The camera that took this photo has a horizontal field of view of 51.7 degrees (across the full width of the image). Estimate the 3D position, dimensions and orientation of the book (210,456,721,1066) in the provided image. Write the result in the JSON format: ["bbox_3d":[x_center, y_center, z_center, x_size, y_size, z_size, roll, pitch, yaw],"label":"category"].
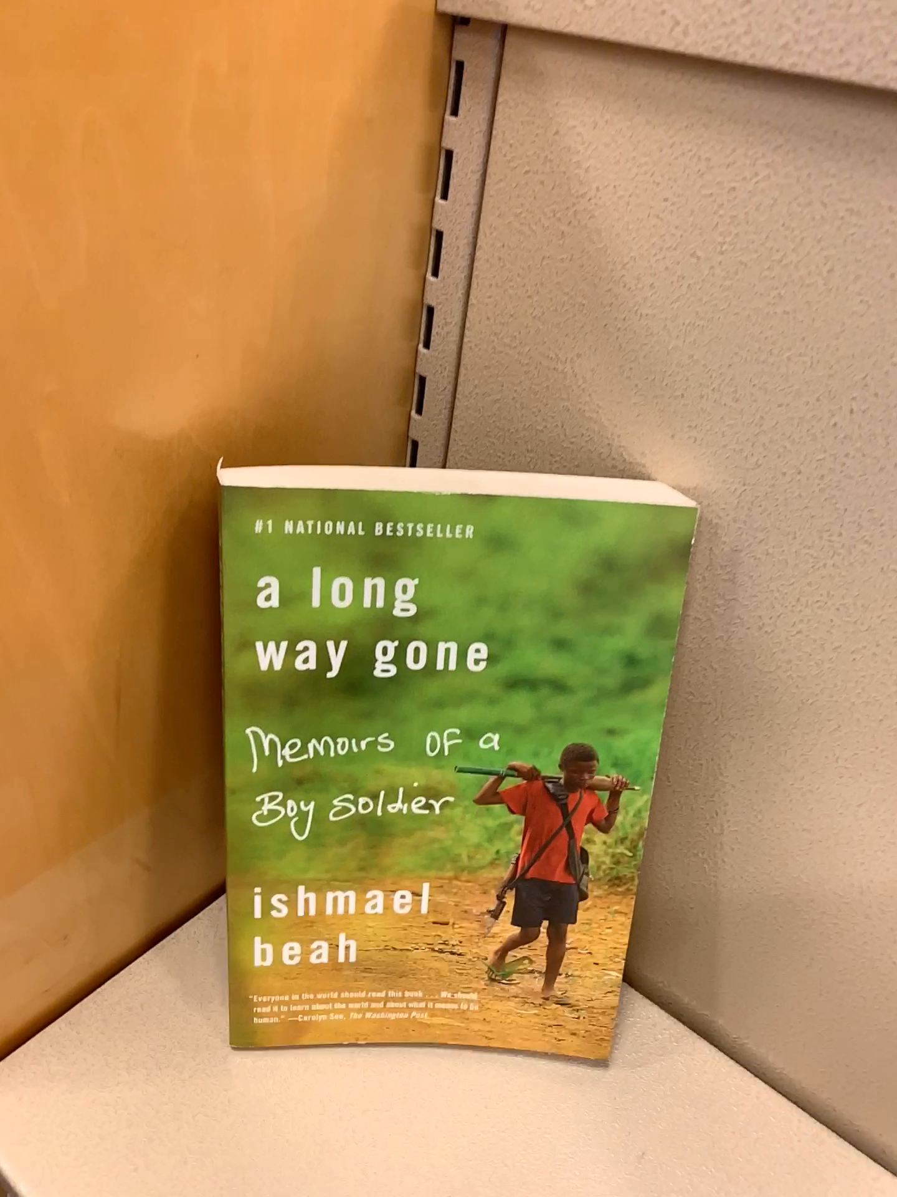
[{"bbox_3d":[-0.003,0.064,0.302,0.140,0.209,0.020,4,22,-3],"label":"book"}]
